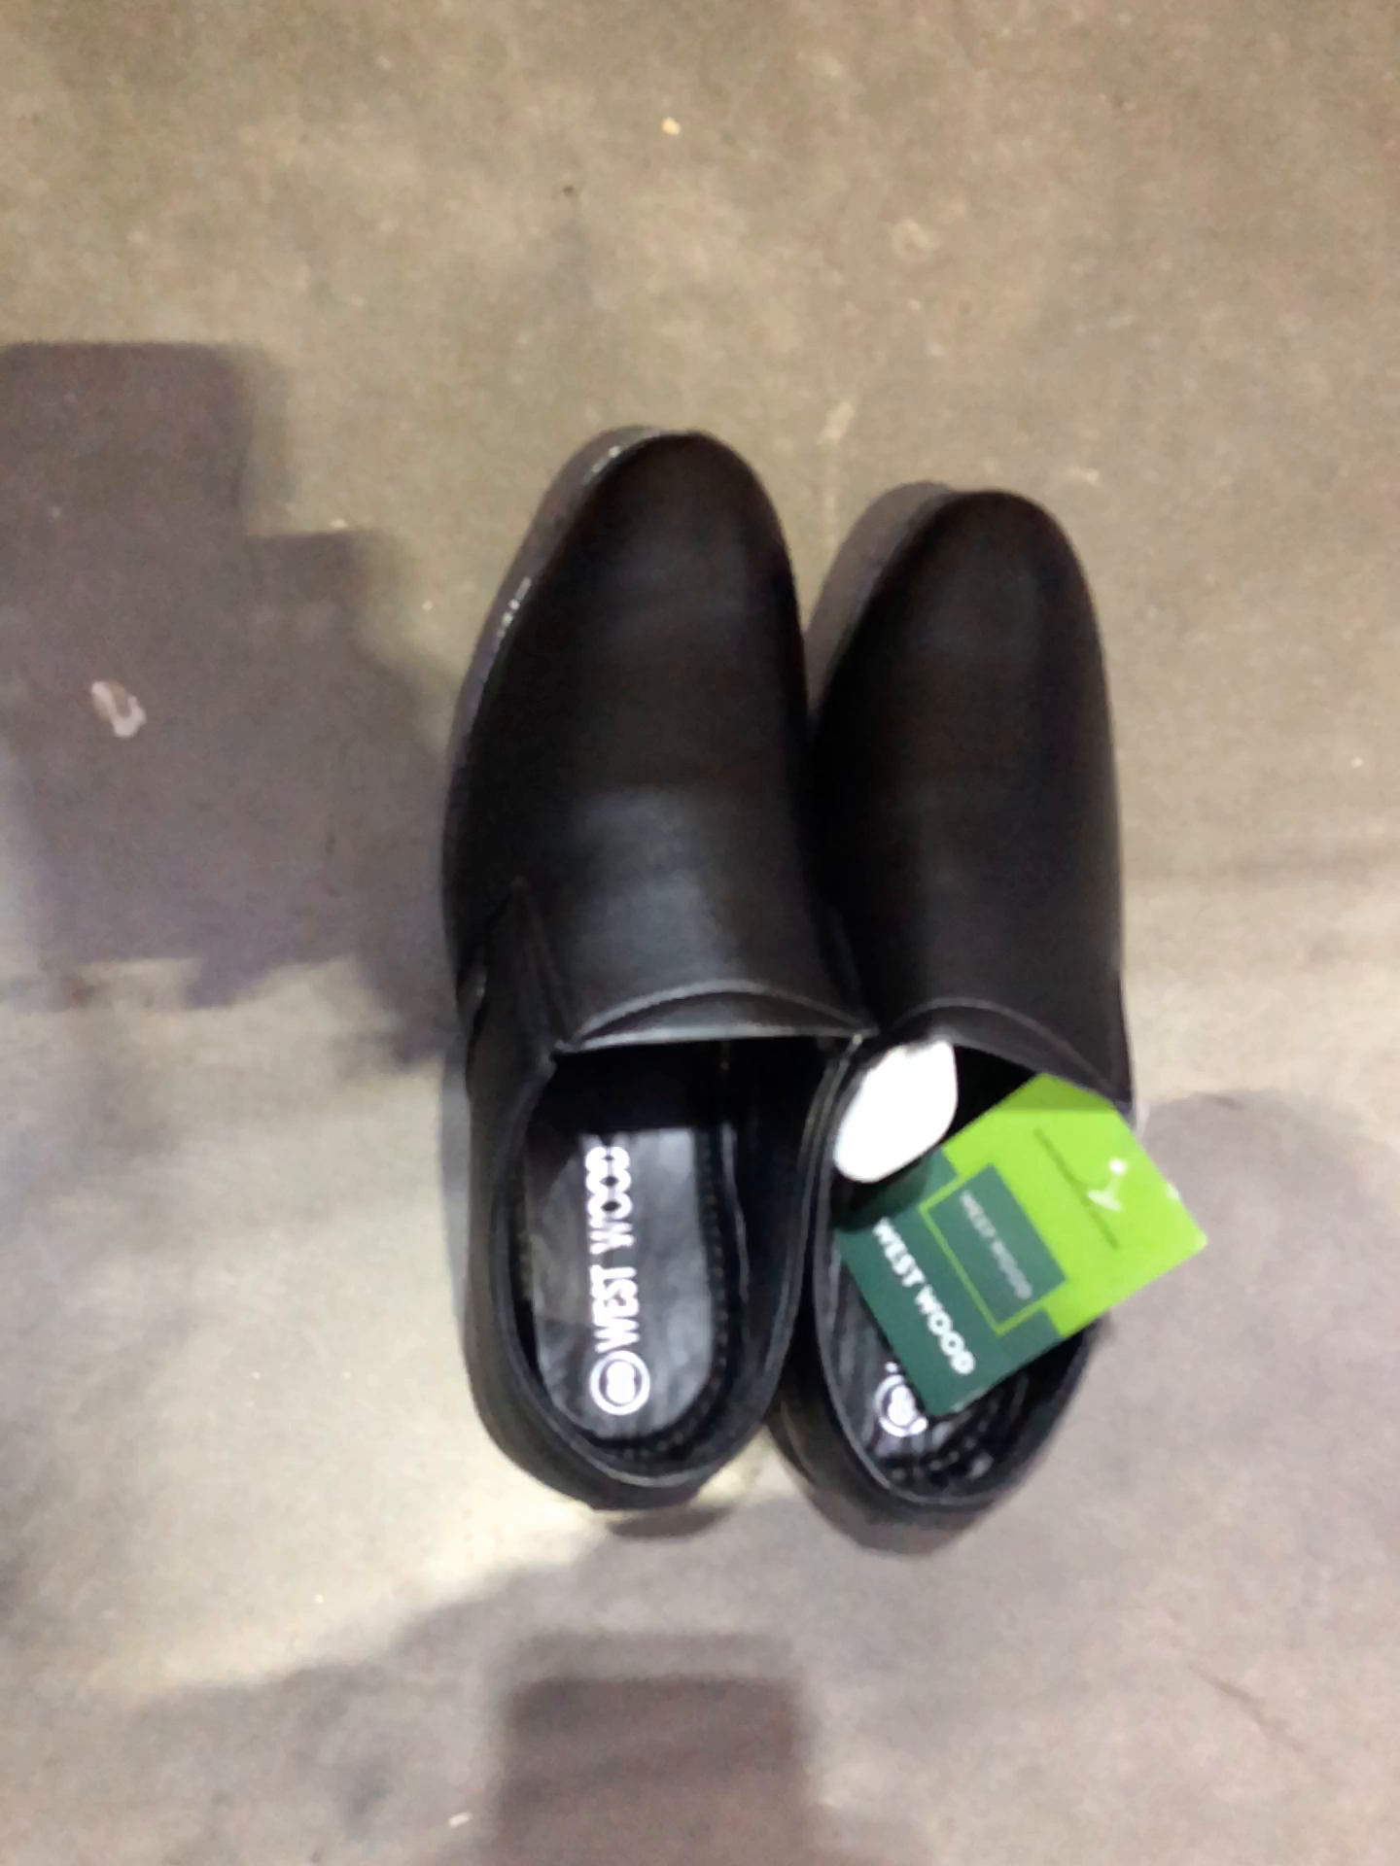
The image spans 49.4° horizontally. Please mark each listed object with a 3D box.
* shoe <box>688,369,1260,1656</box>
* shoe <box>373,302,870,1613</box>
[{"bbox_3d":[0.070,0.019,0.411,0.100,0.090,0.300,8,84,-8],"label":"shoe"},{"bbox_3d":[-0.022,0.007,0.403,0.100,0.100,0.300,4,85,-8],"label":"shoe"}]
